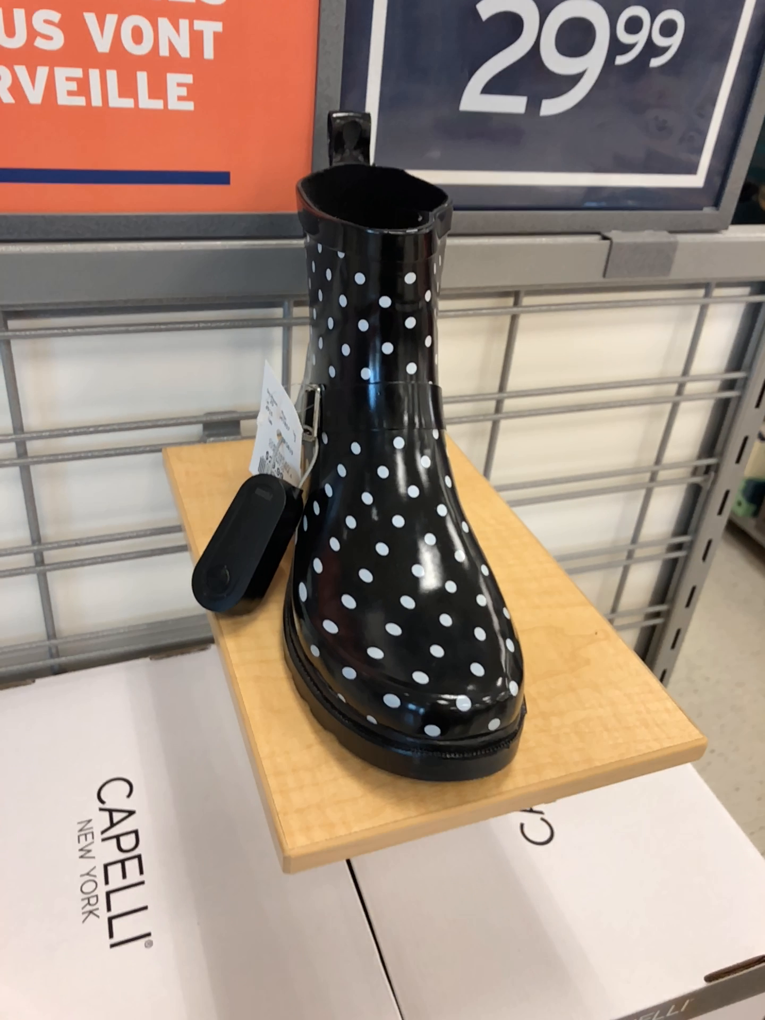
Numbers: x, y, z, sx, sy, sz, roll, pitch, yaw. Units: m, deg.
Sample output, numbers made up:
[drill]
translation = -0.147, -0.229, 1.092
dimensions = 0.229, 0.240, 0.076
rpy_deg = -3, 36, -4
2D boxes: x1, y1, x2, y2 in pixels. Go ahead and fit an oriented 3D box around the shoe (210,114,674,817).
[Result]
[shoe]
translation = -0.010, -0.045, 0.370
dimensions = 0.095, 0.188, 0.262
rpy_deg = -5, 35, -16
